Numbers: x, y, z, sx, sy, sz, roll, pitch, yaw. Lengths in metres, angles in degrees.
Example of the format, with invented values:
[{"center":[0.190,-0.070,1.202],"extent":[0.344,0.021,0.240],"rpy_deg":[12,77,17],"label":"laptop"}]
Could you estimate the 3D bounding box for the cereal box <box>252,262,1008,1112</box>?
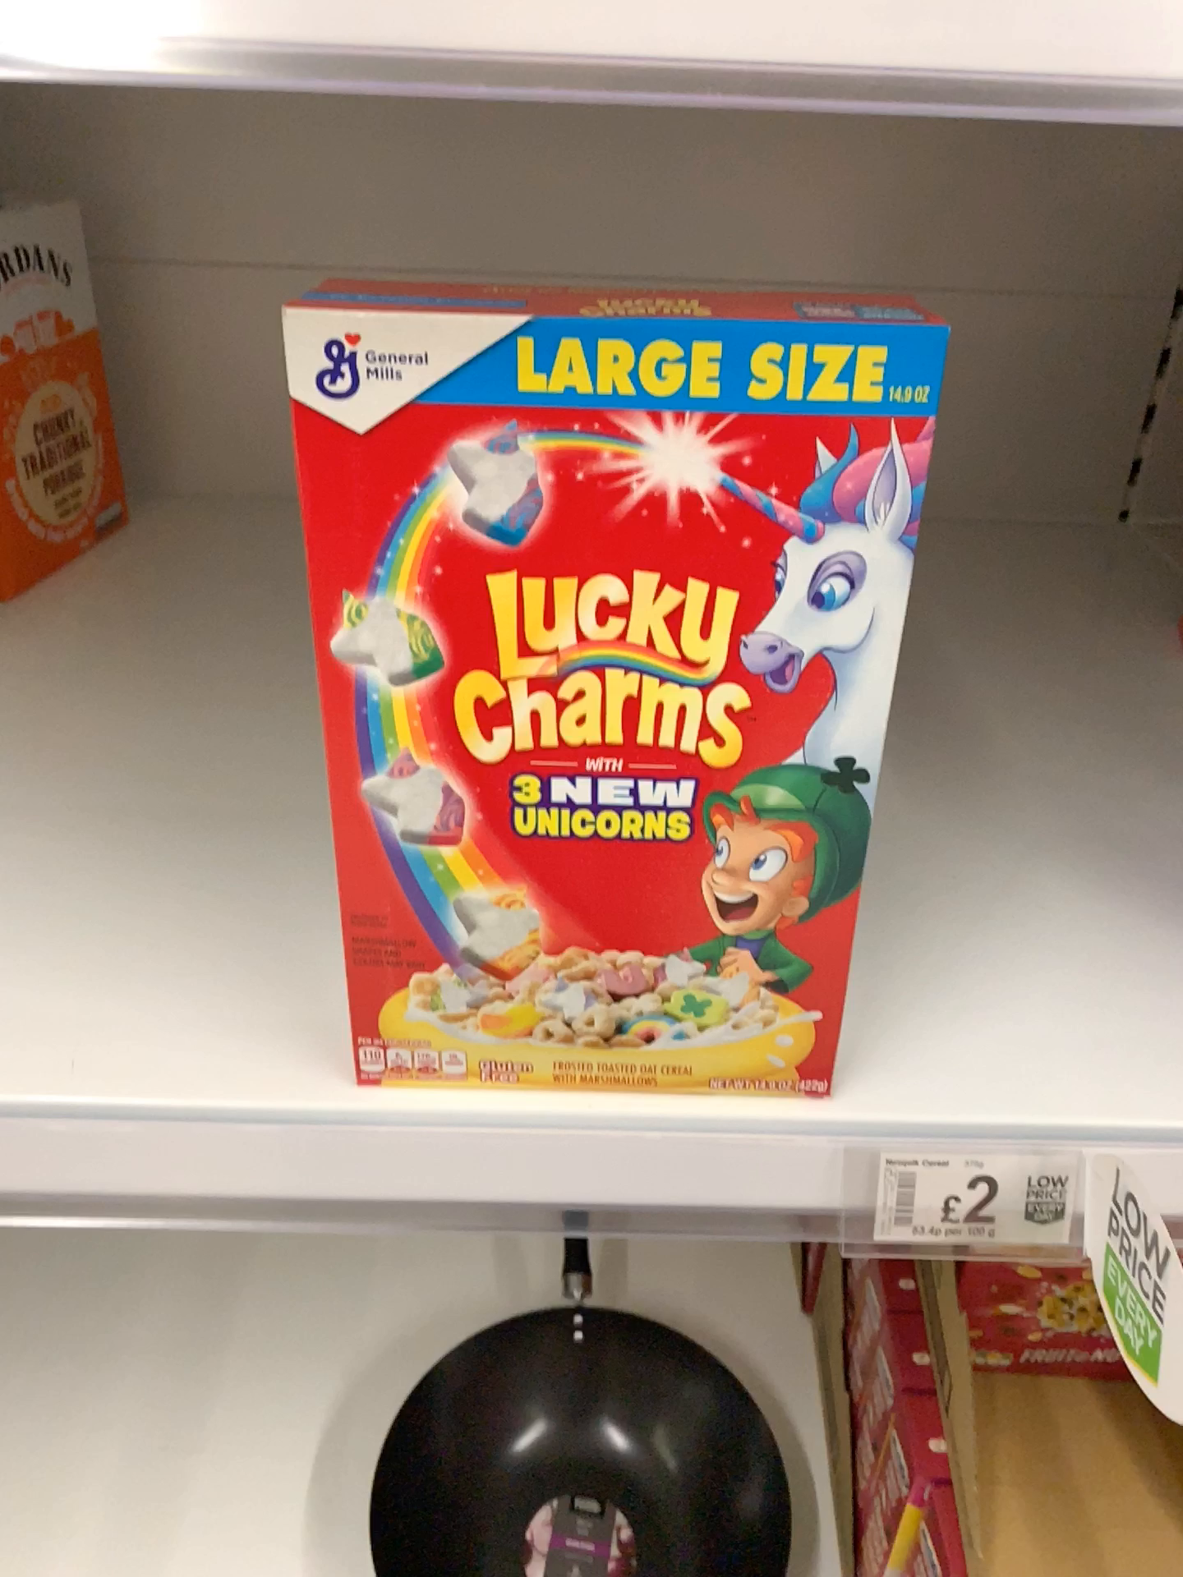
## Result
[{"center":[0.006,-0.021,0.441],"extent":[0.210,0.297,0.071],"rpy_deg":[1,29,-1],"label":"cereal box"}]
